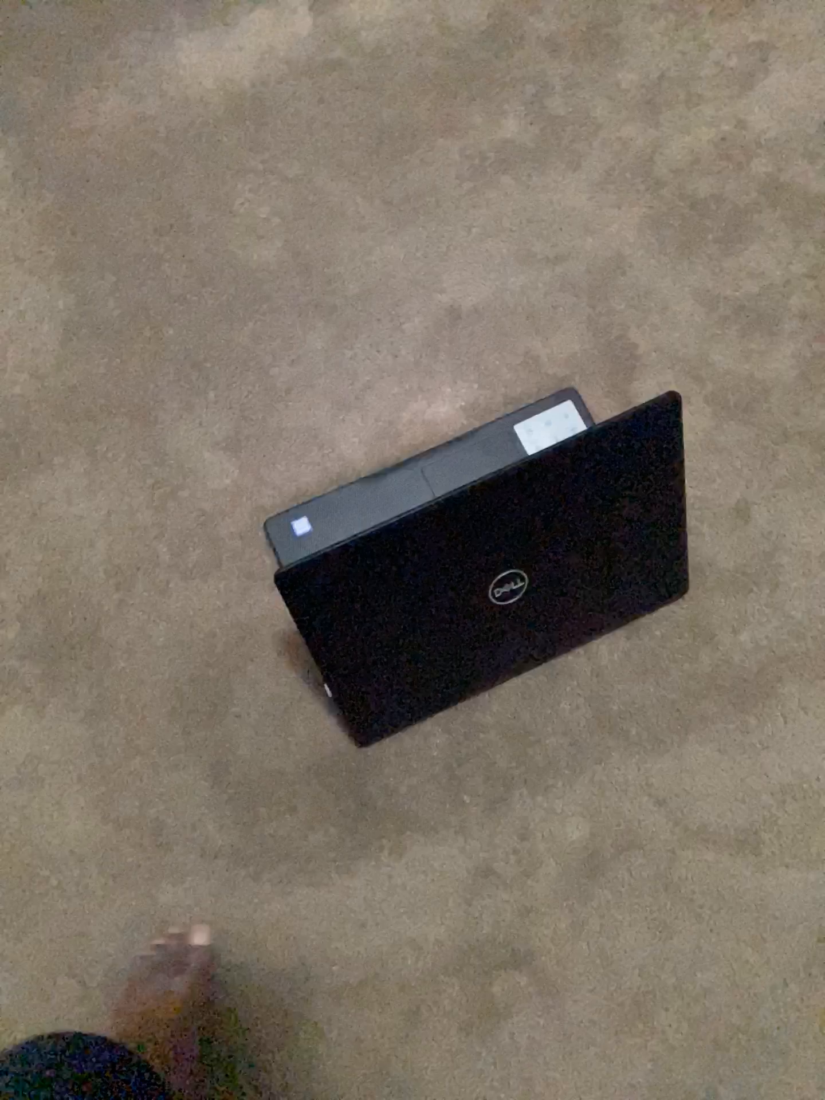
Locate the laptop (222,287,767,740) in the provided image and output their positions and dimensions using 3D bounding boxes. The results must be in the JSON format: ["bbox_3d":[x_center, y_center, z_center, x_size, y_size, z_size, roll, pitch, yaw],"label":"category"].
[{"bbox_3d":[0.062,-0.021,0.789,0.376,0.202,0.252,-24,76,-5],"label":"laptop"}]
